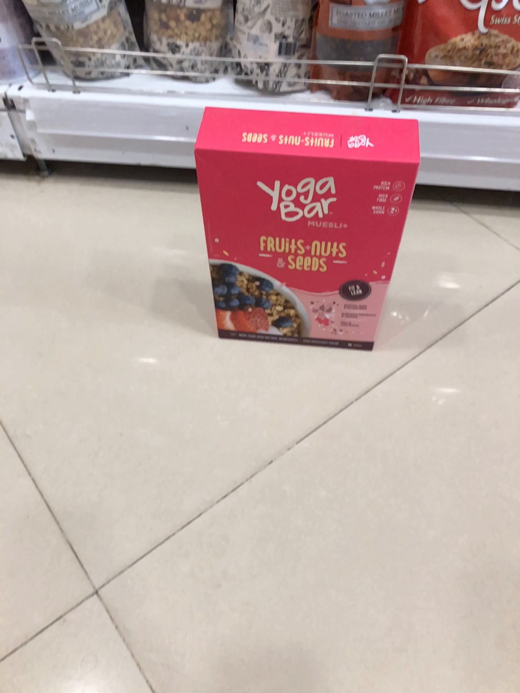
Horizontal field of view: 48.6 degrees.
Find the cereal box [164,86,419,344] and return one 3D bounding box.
[{"bbox_3d":[0.025,-0.098,0.495,0.170,0.229,0.060,3,55,3],"label":"cereal box"}]
